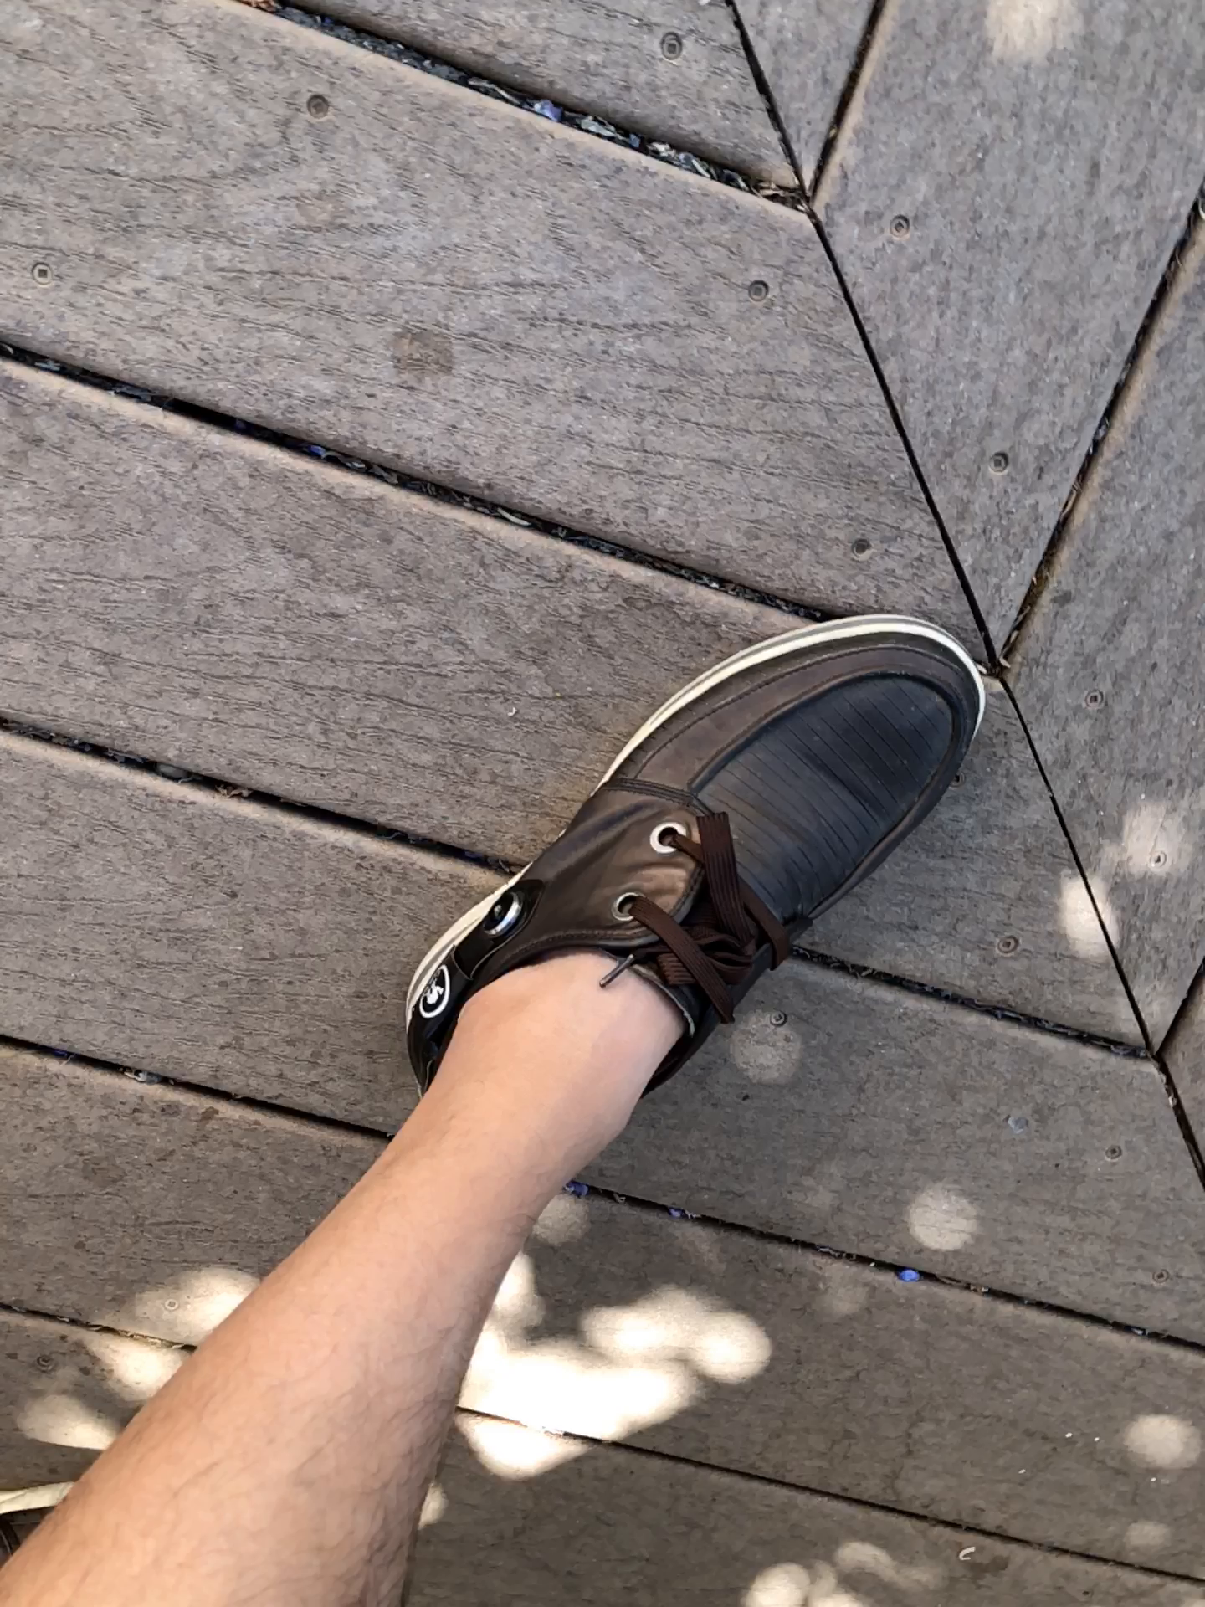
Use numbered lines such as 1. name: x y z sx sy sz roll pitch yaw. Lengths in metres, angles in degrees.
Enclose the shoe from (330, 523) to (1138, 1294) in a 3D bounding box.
1. shoe: 0.039 0.040 0.528 0.296 0.110 0.110 -42 110 10
